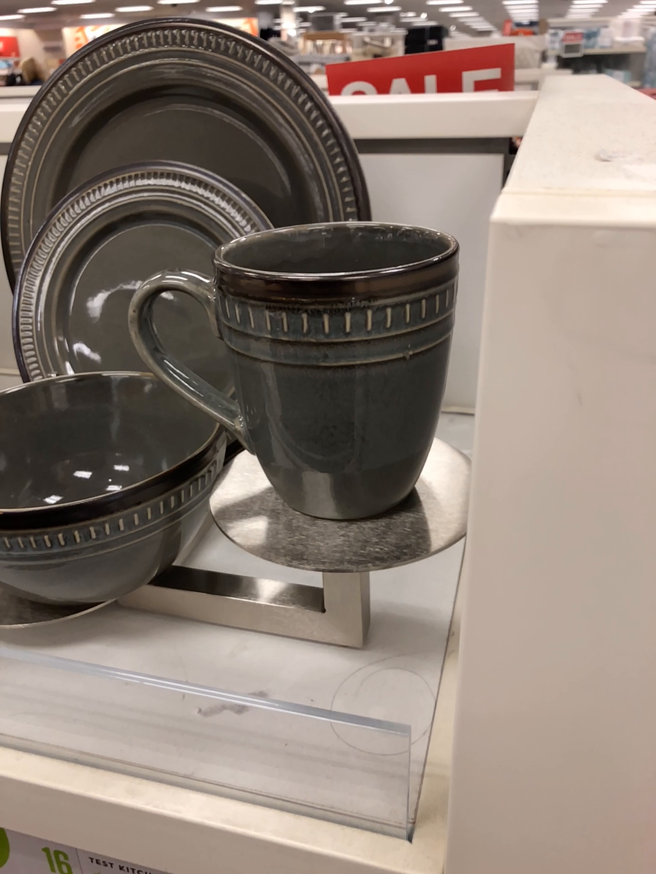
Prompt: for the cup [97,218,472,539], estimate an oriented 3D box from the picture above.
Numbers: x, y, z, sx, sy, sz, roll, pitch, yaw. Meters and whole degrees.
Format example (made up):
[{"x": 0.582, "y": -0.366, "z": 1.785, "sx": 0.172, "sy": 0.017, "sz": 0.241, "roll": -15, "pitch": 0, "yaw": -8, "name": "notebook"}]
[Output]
[{"x": -0.010, "y": -0.029, "z": 0.307, "sx": 0.126, "sy": 0.106, "sz": 0.089, "roll": 1, "pitch": 26, "yaw": 6, "name": "cup"}]
